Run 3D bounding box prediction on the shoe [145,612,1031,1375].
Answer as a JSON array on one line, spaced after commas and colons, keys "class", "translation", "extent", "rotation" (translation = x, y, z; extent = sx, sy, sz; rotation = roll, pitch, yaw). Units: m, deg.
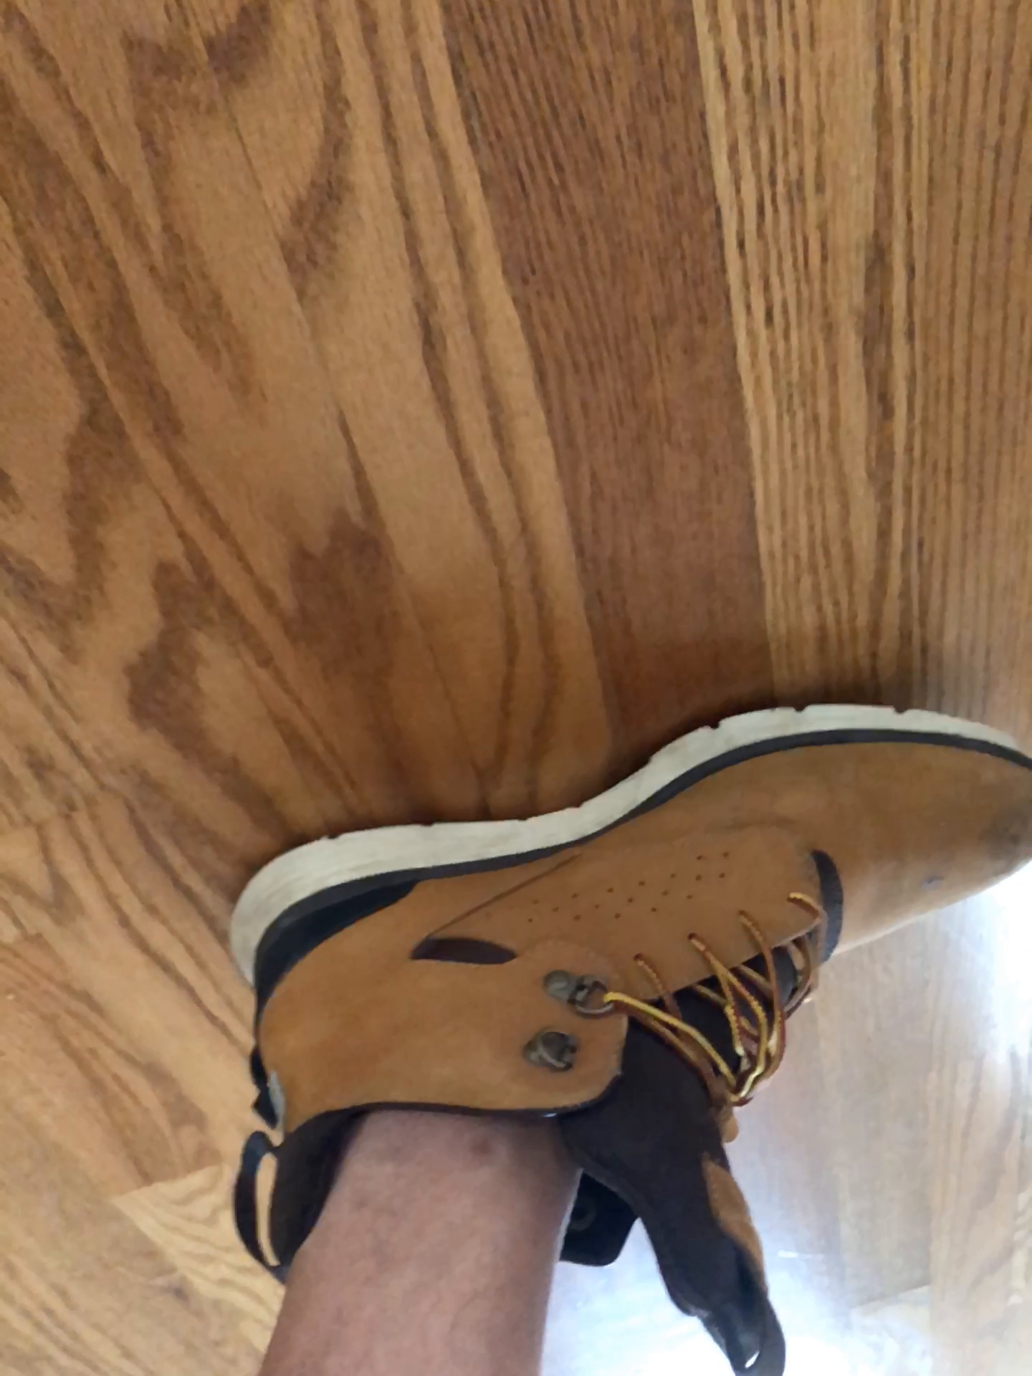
[{"class": "shoe", "translation": [0.056, 0.112, 0.376], "extent": [0.310, 0.169, 0.121], "rotation": [-18, 129, -8]}]
